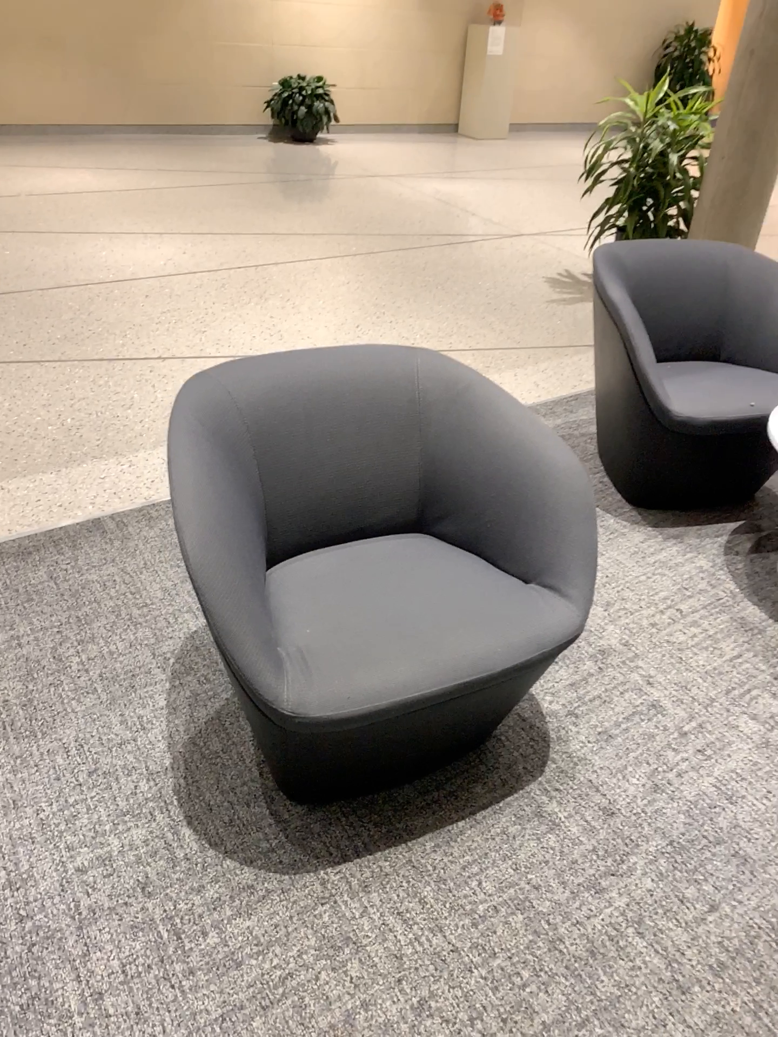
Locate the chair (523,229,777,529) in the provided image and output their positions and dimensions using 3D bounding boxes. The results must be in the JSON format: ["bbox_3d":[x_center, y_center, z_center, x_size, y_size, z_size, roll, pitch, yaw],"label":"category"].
[{"bbox_3d":[0.954,-0.470,2.463,0.769,0.668,0.636,-7,34,-17],"label":"chair"}]

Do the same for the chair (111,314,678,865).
[{"bbox_3d":[-0.034,0.061,1.549,0.780,0.658,0.635,-13,36,-25],"label":"chair"}]
